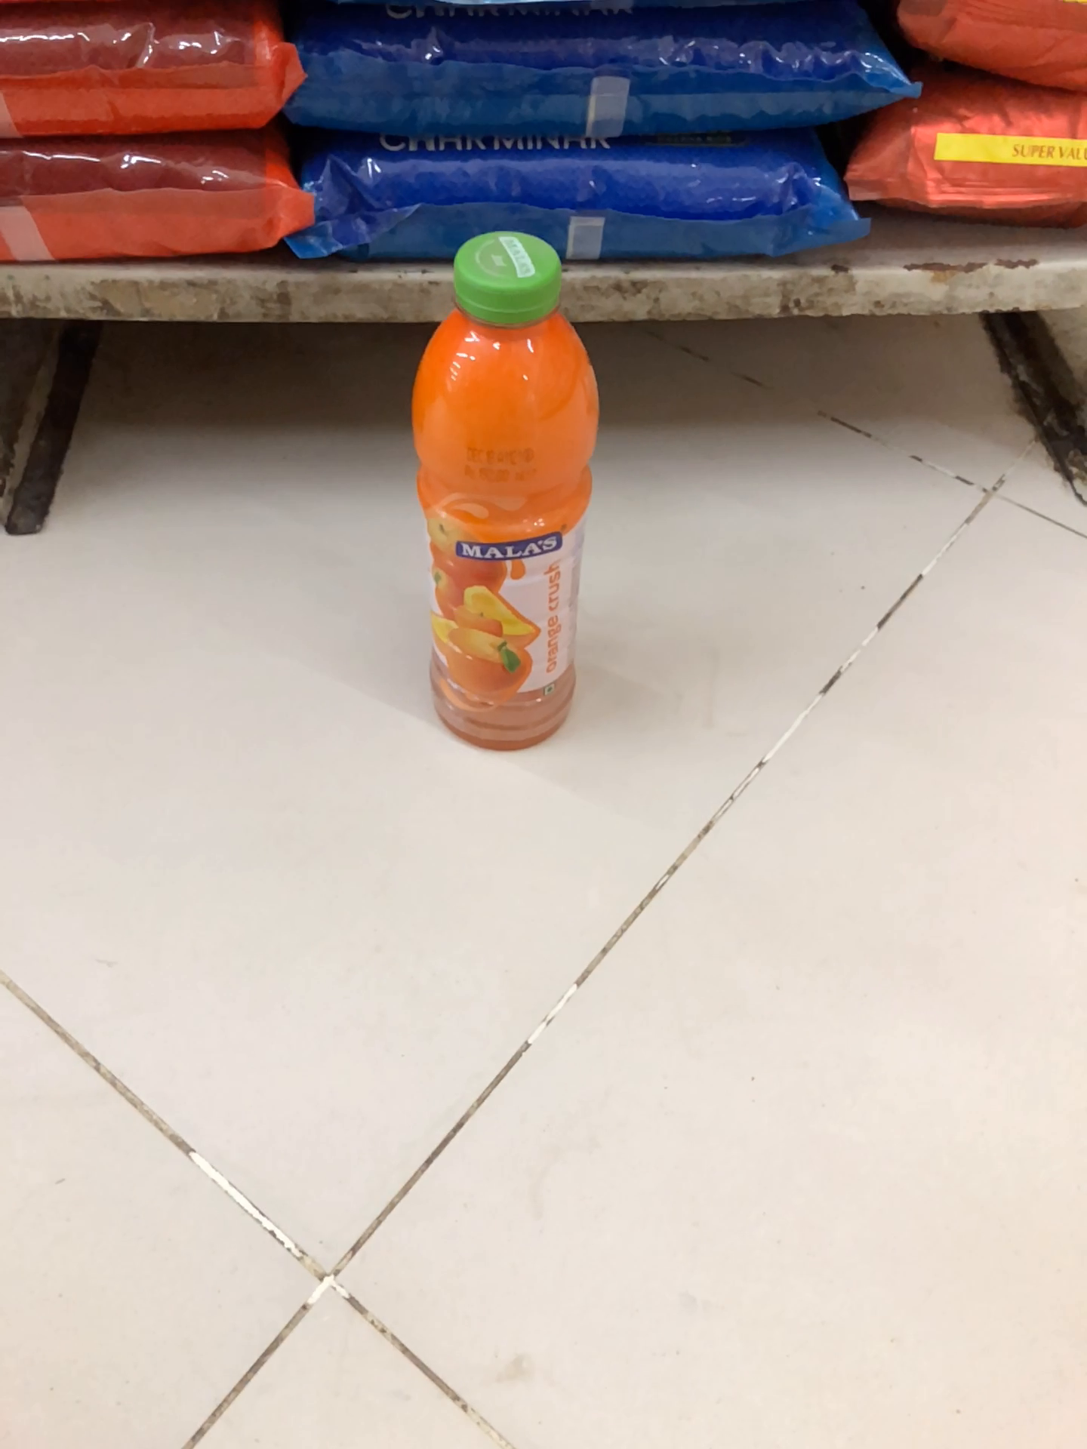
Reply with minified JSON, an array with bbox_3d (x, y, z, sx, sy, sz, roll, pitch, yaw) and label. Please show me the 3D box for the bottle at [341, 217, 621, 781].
[{"bbox_3d":[-0.023,-0.086,0.536,0.090,0.238,0.091,1,52,-1],"label":"bottle"}]
